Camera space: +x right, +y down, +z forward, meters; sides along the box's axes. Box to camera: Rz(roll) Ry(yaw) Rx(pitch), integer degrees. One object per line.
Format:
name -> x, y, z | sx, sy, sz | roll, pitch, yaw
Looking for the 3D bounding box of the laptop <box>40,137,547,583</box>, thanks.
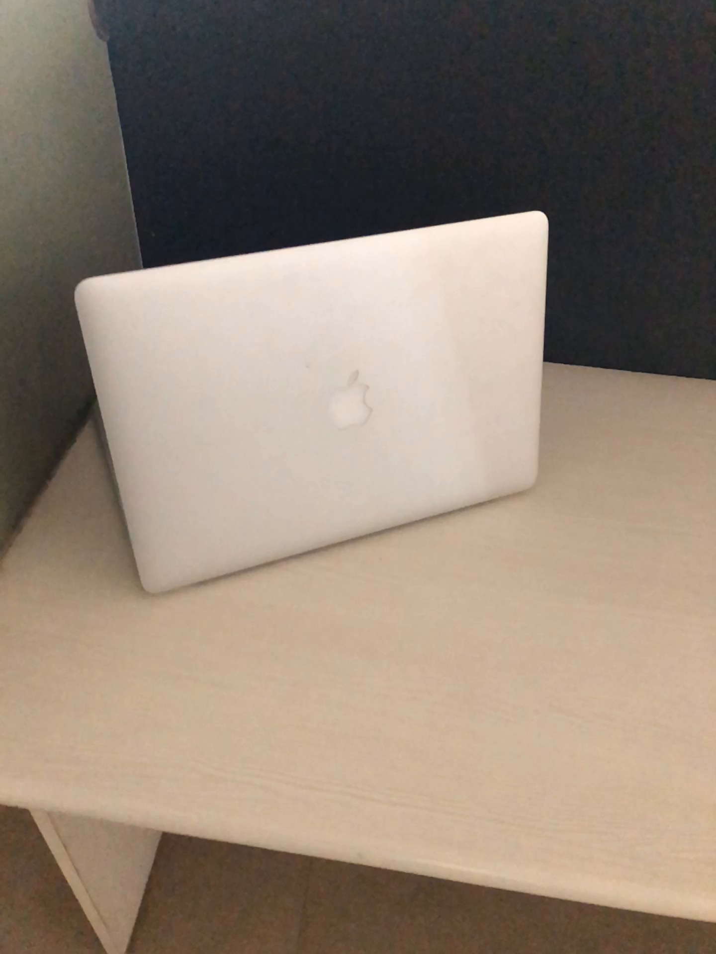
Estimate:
laptop -> -0.063, -0.116, 0.677 | 0.322, 0.232, 0.245 | -15, 44, -18
